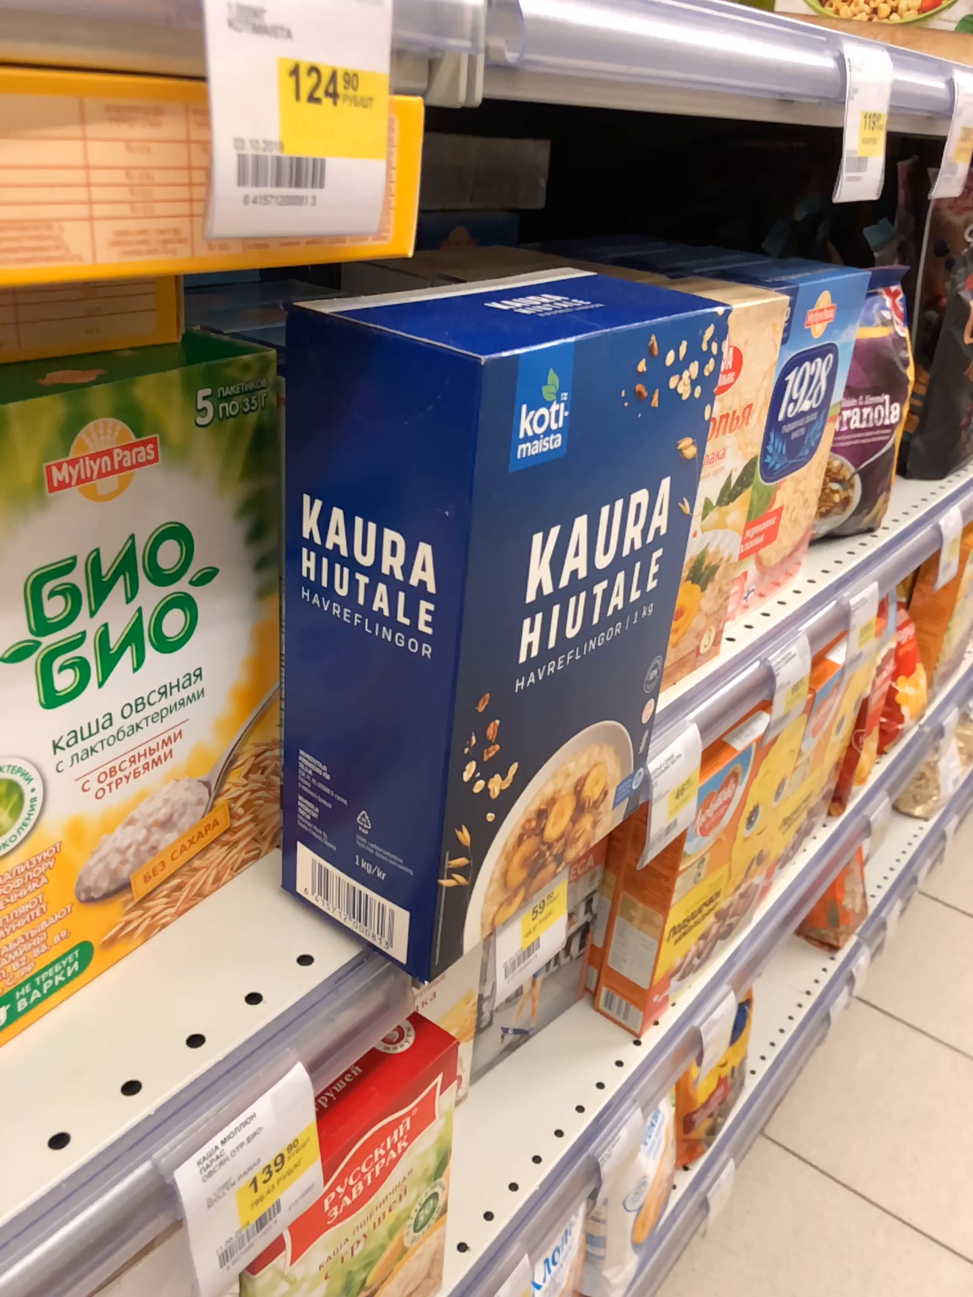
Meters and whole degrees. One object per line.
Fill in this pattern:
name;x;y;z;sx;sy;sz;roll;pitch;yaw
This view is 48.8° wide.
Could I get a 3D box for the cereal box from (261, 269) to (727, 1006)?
cereal box;0.001;-0.013;0.405;0.080;0.229;0.151;22;32;31
